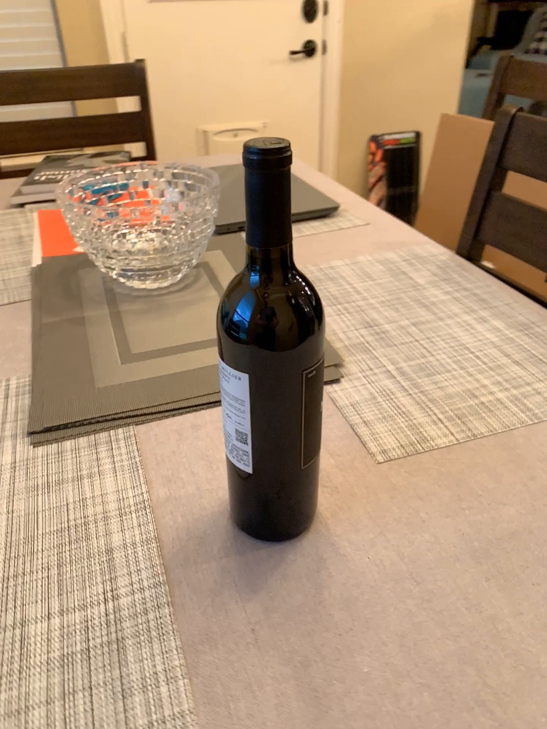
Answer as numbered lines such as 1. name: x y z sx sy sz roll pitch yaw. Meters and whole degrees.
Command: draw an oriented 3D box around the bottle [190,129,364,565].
1. bottle: 0.001 0.004 0.416 0.080 0.314 0.080 -1 34 1
